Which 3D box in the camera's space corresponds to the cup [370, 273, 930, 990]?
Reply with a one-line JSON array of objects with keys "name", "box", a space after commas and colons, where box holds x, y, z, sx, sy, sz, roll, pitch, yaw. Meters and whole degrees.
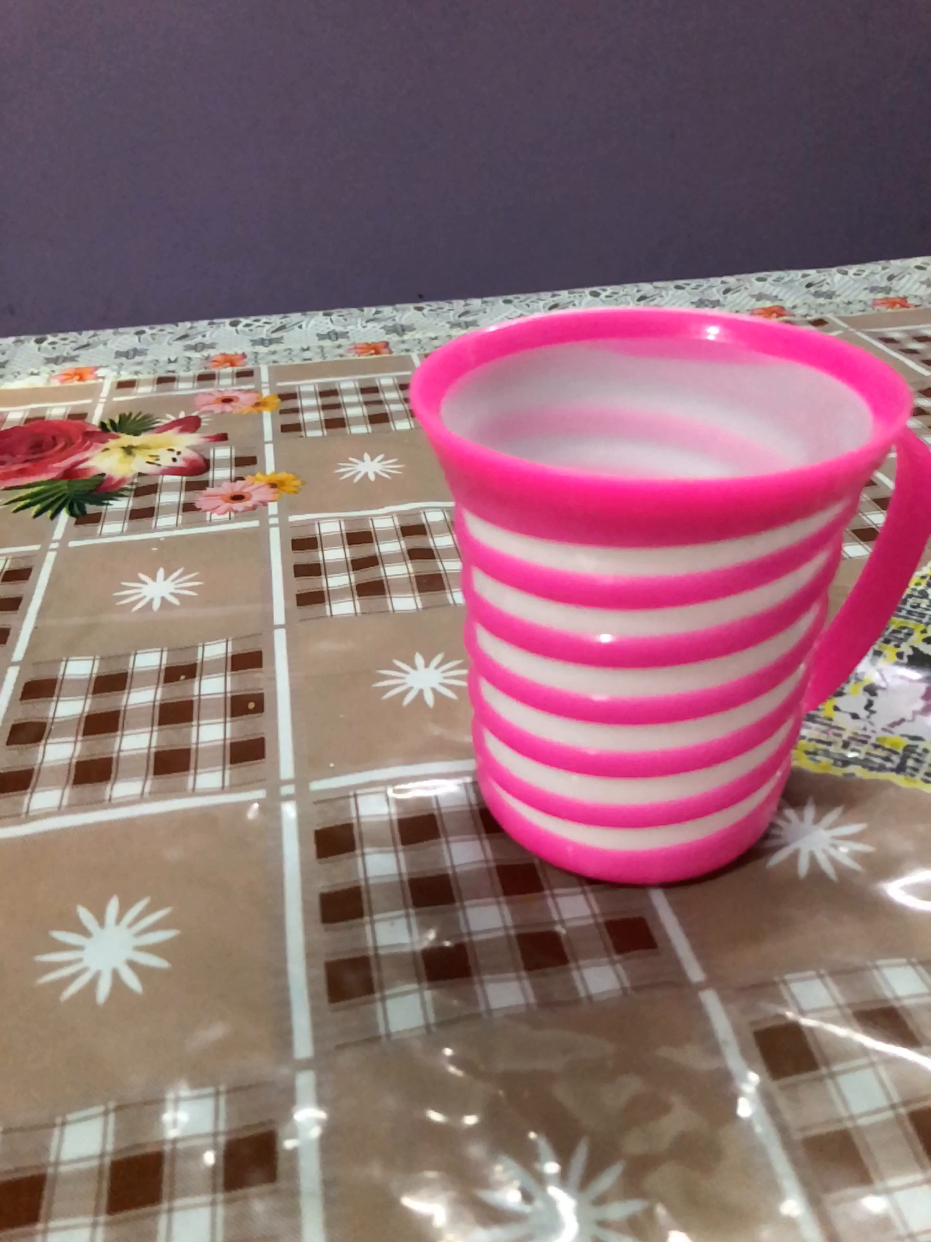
[{"name": "cup", "box": [0.050, -0.007, 0.202, 0.110, 0.089, 0.080, -14, 34, -19]}]
